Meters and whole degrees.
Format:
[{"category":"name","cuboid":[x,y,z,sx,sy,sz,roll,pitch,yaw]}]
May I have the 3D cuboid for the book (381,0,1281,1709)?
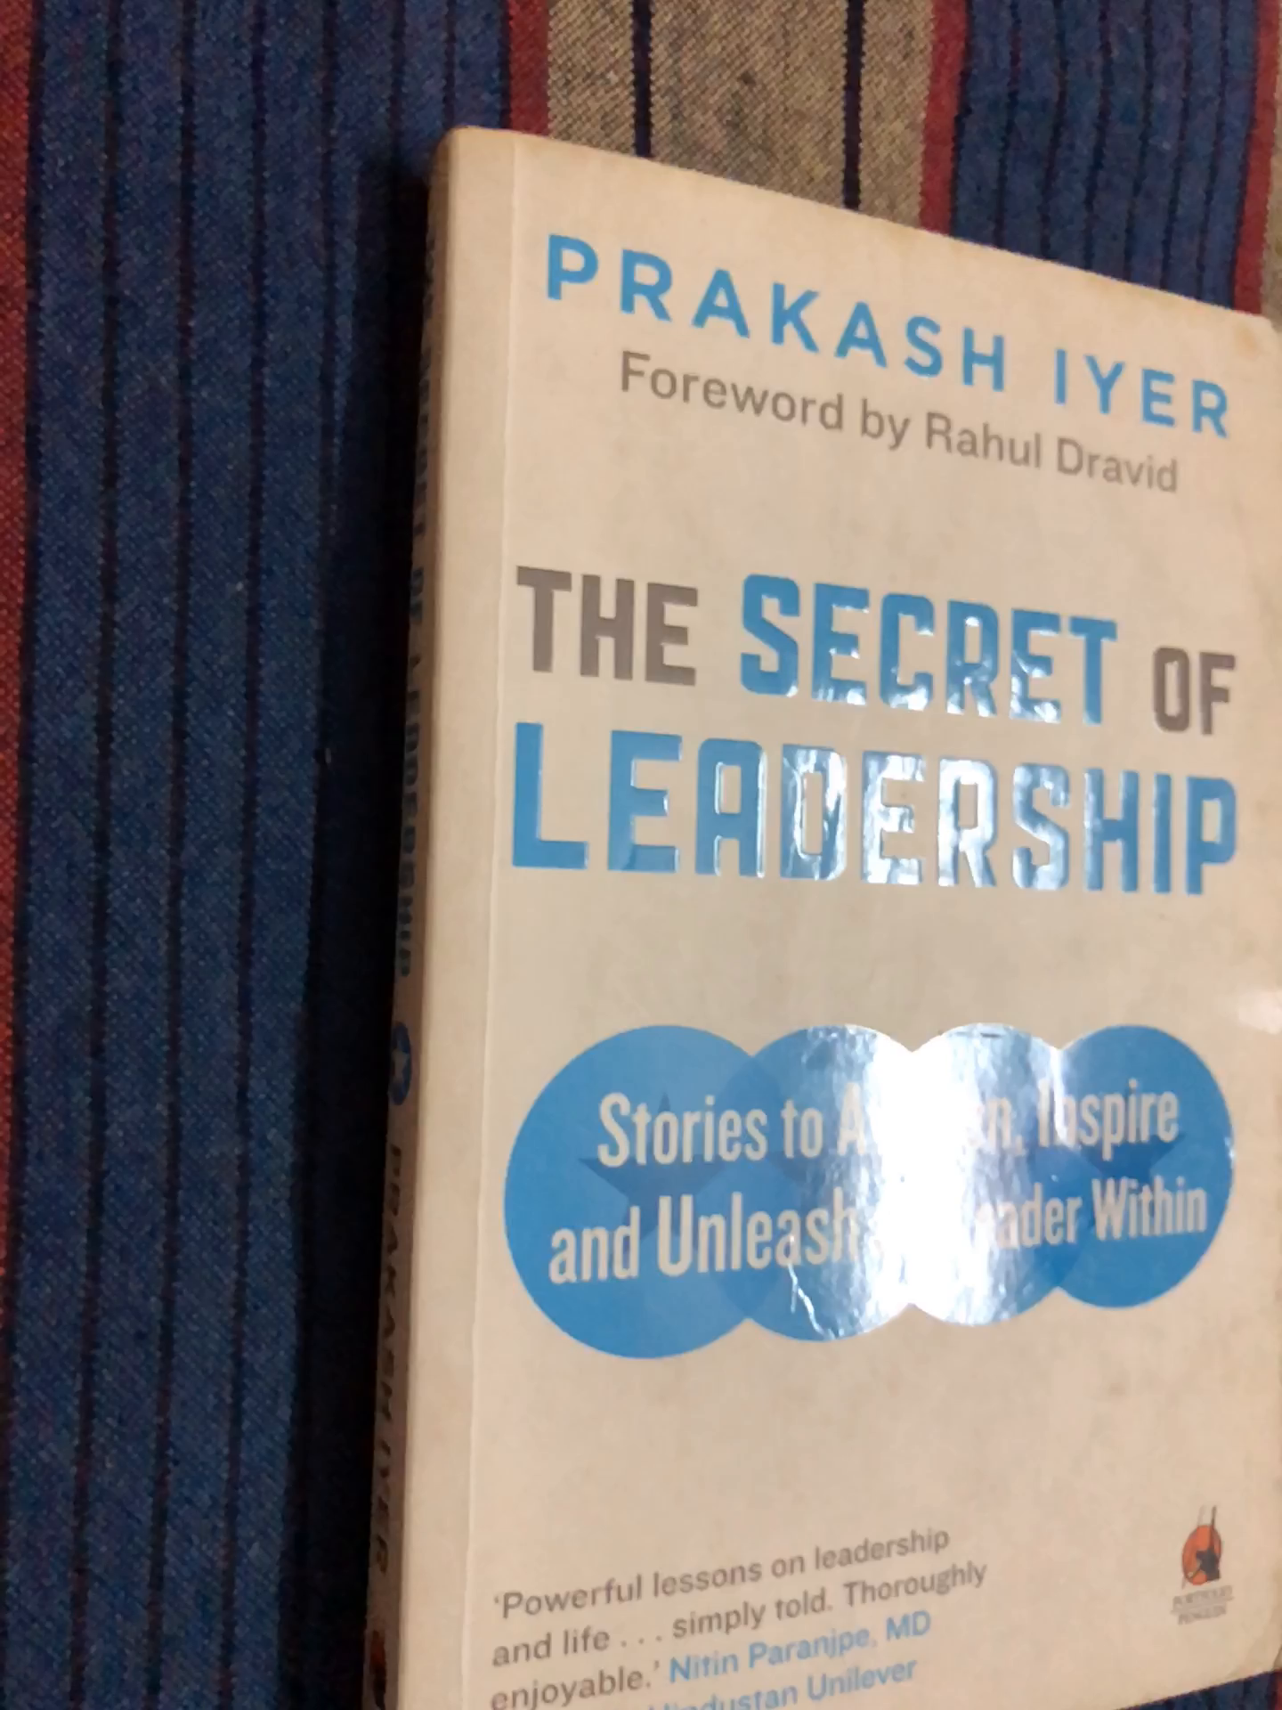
[{"category":"book","cuboid":[0.043,0.009,0.184,0.140,0.030,0.190,3,86,-25]}]
